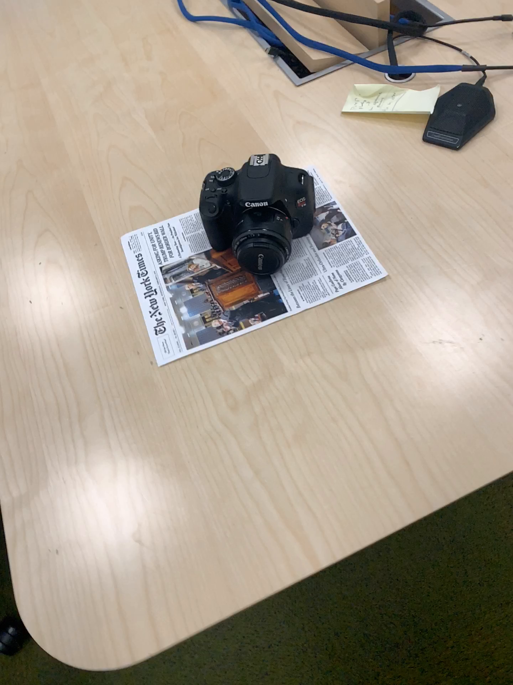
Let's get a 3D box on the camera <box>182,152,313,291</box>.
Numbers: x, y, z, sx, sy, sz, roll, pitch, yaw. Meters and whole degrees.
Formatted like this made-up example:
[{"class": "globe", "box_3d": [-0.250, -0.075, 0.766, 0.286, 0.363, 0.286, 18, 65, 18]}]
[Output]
[{"class": "camera", "box_3d": [-0.003, -0.141, 0.622, 0.124, 0.100, 0.122, 2, 59, 12]}]
